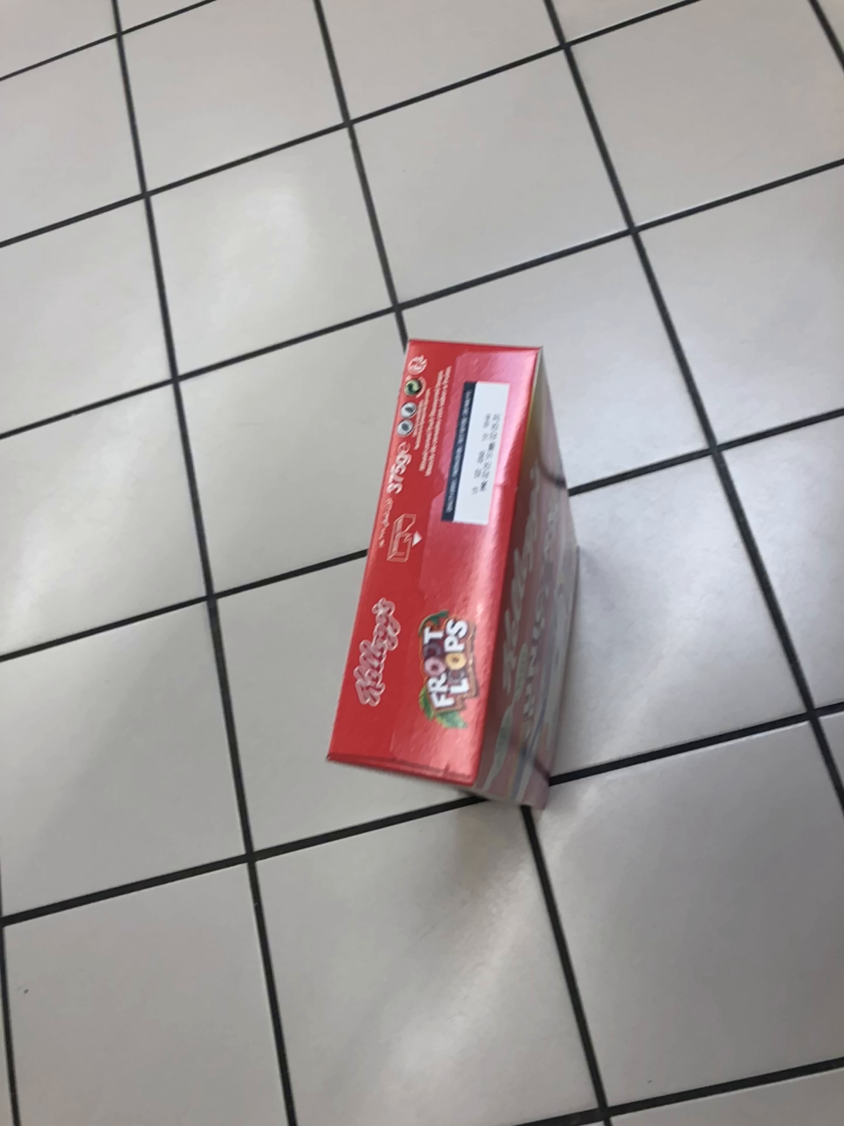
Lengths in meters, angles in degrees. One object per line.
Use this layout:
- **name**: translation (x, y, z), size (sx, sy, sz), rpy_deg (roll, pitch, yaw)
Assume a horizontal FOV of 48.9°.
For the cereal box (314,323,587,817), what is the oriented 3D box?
- **cereal box**: translation (0.039, 0.032, 0.529), size (0.070, 0.300, 0.200), rpy_deg (7, 75, 14)
